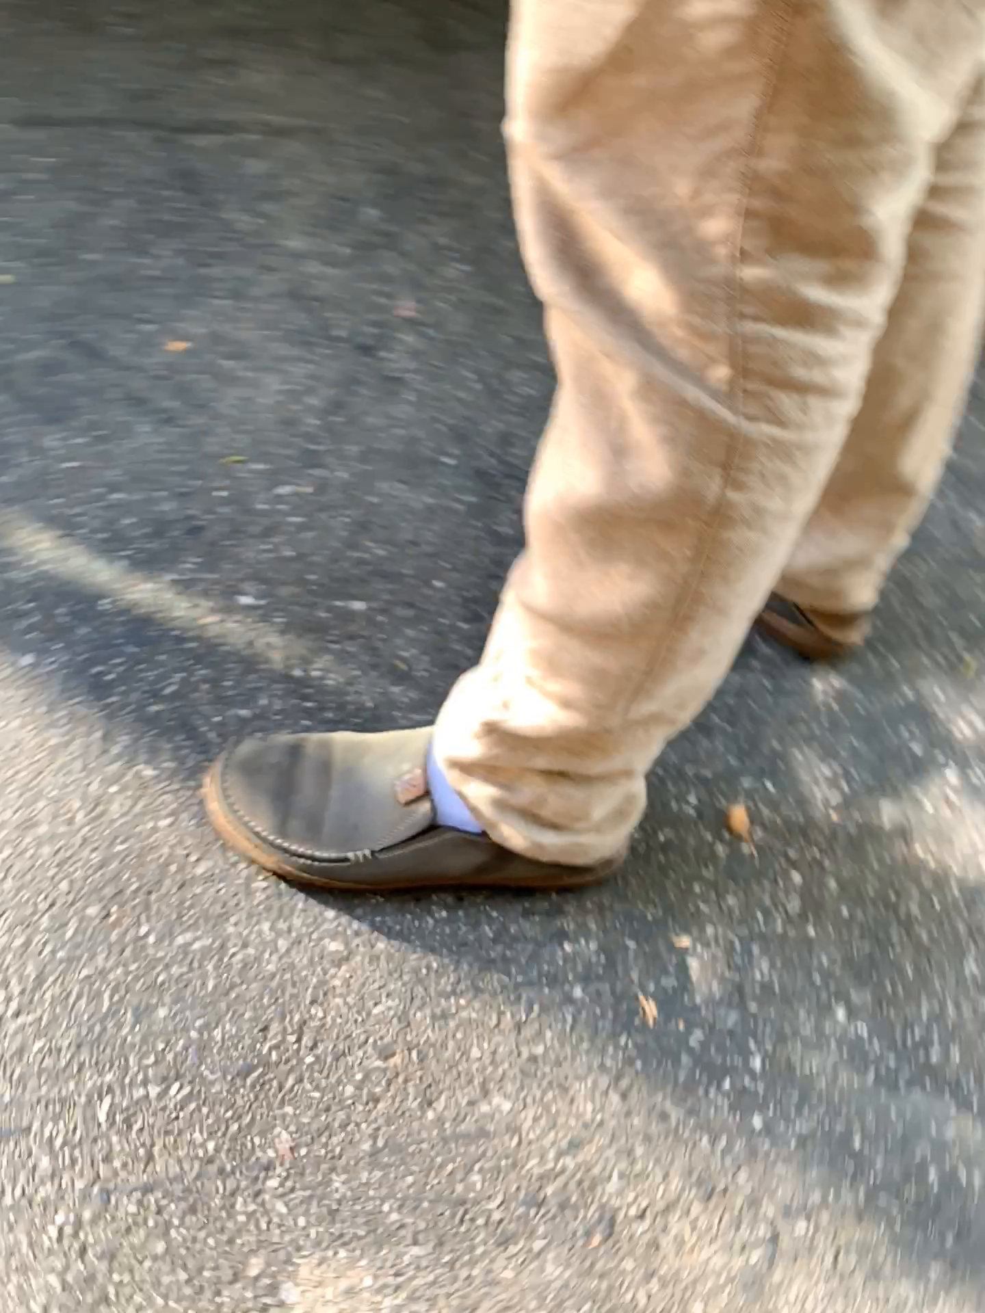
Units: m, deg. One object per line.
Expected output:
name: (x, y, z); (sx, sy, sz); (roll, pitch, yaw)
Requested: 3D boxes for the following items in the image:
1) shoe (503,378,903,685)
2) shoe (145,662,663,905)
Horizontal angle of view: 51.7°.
shoe: (0.169, -0.118, 0.873); (0.321, 0.060, 0.120); (37, 57, 24)
shoe: (-0.054, 0.087, 0.697); (0.320, 0.080, 0.121); (4, 50, -1)
